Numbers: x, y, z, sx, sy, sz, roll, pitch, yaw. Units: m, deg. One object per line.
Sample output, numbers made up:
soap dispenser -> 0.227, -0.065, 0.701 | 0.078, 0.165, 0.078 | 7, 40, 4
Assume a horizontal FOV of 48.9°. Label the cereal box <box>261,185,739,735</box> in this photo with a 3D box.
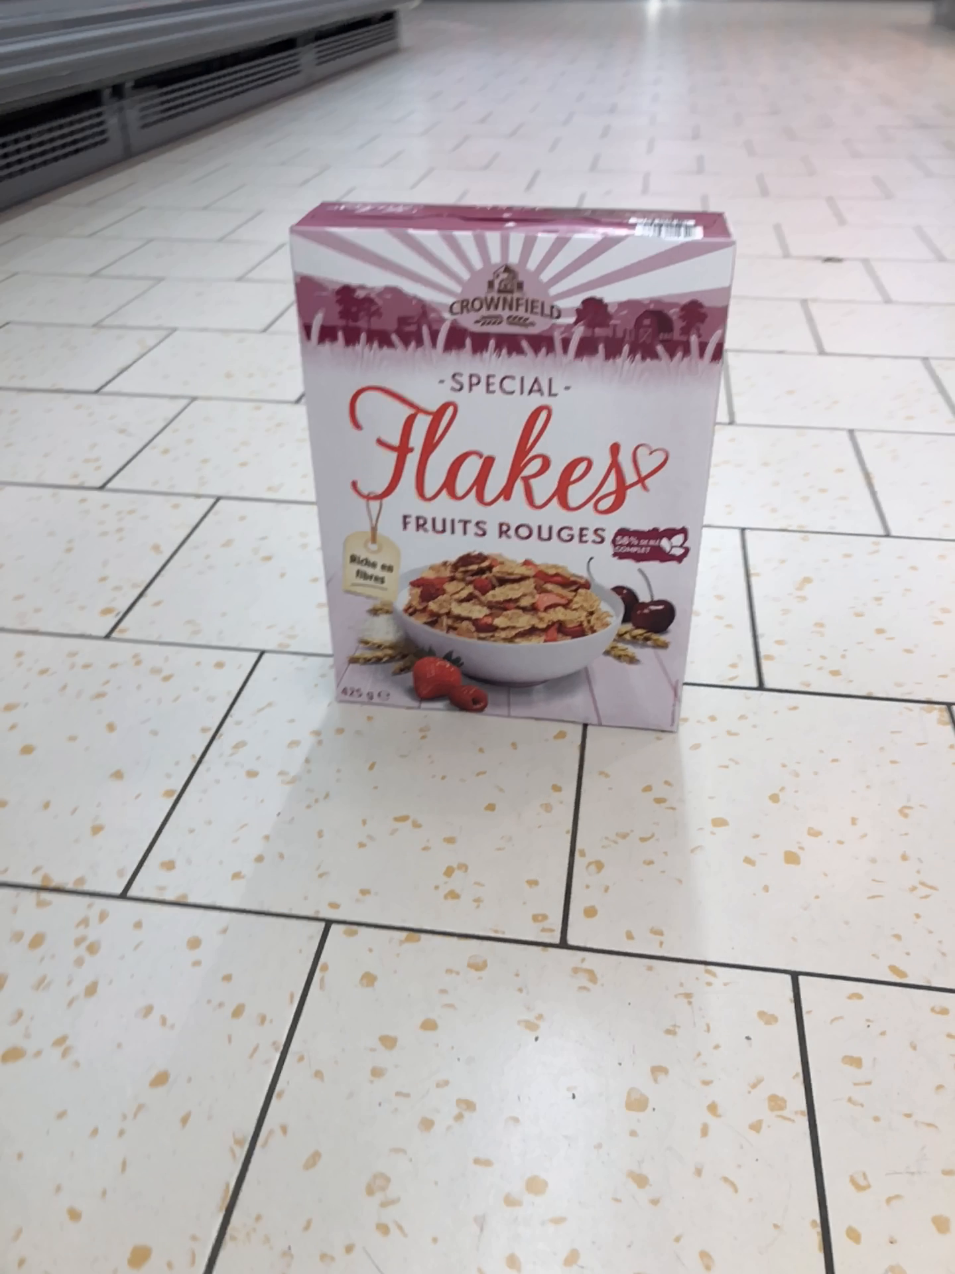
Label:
cereal box -> 0.014, -0.082, 0.527 | 0.200, 0.258, 0.060 | 5, 33, 9
